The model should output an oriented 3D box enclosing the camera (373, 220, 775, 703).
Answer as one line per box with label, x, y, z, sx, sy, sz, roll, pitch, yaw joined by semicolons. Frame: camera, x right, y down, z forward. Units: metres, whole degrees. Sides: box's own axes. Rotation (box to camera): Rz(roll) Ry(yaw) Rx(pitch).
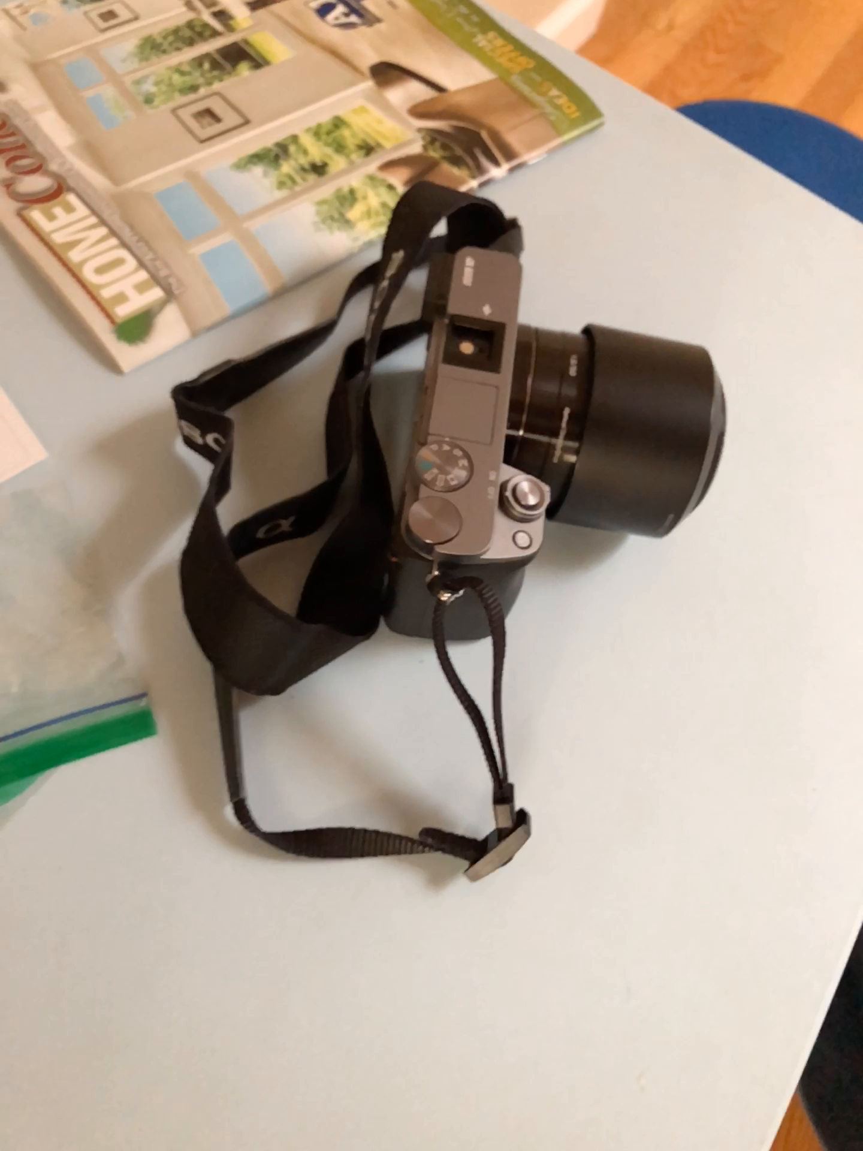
camera;0.048;-0.038;0.333;0.110;0.070;0.130;11;62;-4
